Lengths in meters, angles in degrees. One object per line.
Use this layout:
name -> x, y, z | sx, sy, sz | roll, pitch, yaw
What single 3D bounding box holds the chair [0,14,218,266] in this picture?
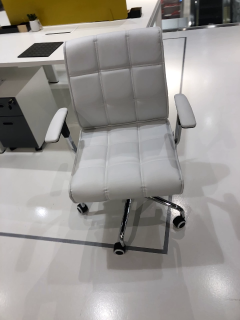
chair -> -0.001, -0.057, 1.297 | 0.660, 0.923, 0.726 | -5, 43, 6
